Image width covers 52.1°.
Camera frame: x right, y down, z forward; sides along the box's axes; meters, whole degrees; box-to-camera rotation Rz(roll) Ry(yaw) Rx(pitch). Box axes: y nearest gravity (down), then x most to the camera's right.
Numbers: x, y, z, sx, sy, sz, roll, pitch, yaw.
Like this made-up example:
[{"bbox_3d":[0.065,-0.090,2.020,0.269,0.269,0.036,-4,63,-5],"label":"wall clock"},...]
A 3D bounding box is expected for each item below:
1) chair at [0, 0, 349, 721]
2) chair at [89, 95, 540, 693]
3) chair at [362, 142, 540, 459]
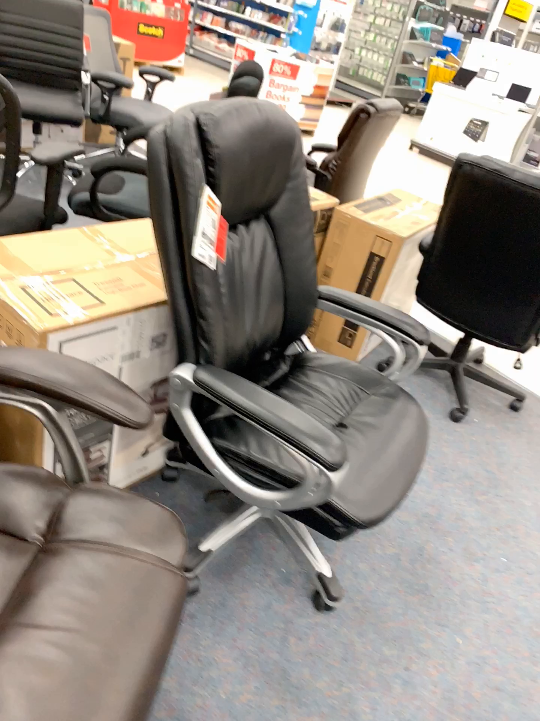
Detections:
[{"bbox_3d":[-0.499,0.255,0.693,0.787,1.045,0.758,21,32,8],"label":"chair"},{"bbox_3d":[0.097,0.031,1.312,0.657,1.055,0.677,27,34,17],"label":"chair"},{"bbox_3d":[0.983,-0.306,2.305,0.665,0.926,0.841,28,34,19],"label":"chair"}]
